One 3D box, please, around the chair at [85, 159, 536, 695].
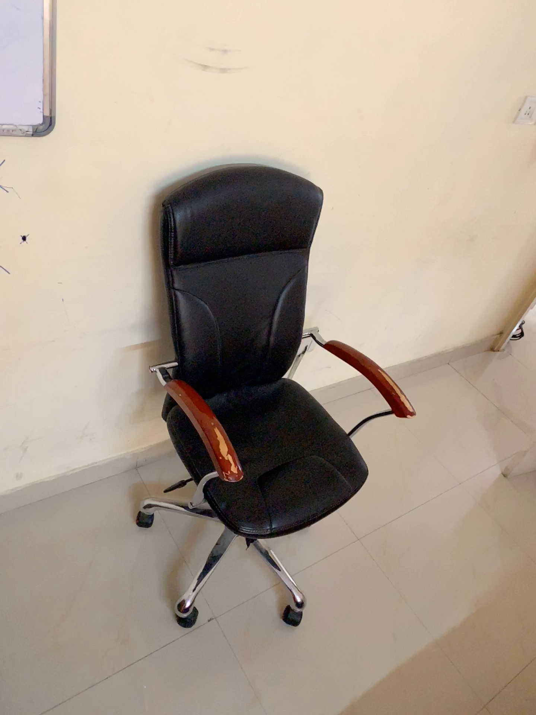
[{"bbox_3d":[0.005,0.154,1.473,0.702,1.081,0.754,-13,48,-34],"label":"chair"}]
